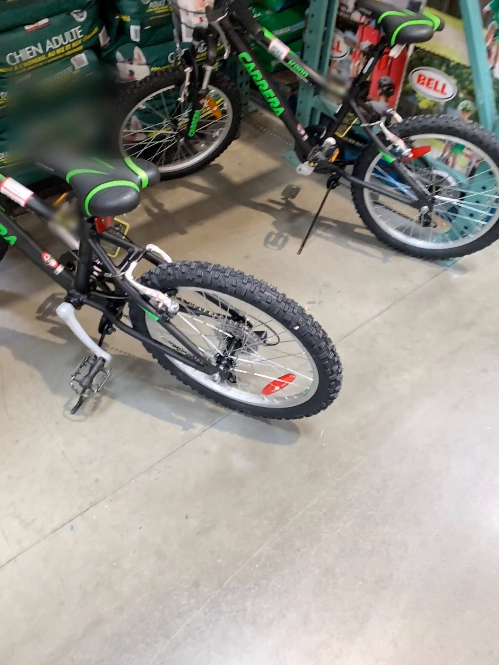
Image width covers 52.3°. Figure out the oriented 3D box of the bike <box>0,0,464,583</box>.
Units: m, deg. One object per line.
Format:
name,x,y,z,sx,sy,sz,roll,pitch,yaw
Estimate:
bike,-0.426,-0.136,0.985,1.304,0.856,0.711,12,49,5
